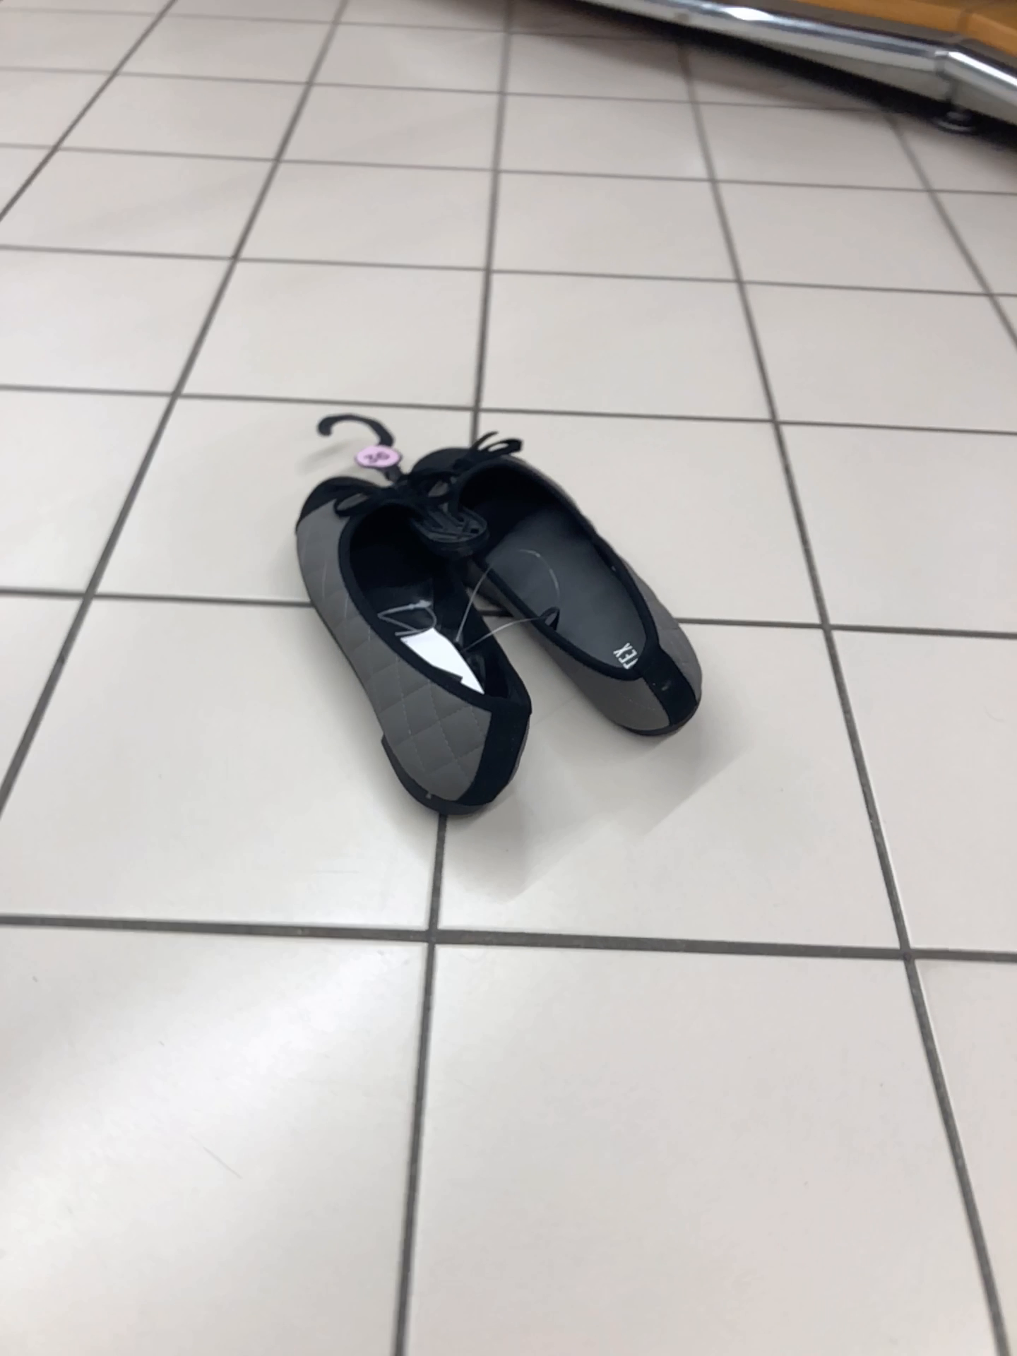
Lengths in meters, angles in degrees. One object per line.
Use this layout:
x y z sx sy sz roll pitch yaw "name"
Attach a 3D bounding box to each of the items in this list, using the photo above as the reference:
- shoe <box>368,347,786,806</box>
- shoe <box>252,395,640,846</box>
0.028 -0.060 0.568 0.078 0.081 0.243 -35 53 -4 "shoe"
-0.044 -0.042 0.548 0.078 0.080 0.243 -7 44 -31 "shoe"
